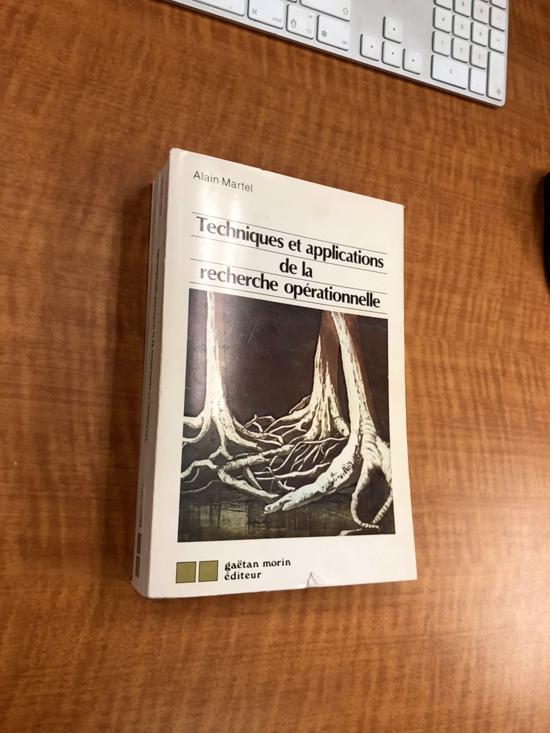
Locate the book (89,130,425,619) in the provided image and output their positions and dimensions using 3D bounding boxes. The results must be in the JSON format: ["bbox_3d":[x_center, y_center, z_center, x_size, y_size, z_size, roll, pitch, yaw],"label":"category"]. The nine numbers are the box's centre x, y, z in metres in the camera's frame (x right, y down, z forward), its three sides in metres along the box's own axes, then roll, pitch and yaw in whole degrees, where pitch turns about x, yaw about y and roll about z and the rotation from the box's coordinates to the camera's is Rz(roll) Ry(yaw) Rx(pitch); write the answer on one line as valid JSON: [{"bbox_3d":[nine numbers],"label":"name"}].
[{"bbox_3d":[-0.006,0.008,0.351,0.170,0.070,0.230,6,80,-26],"label":"book"}]
